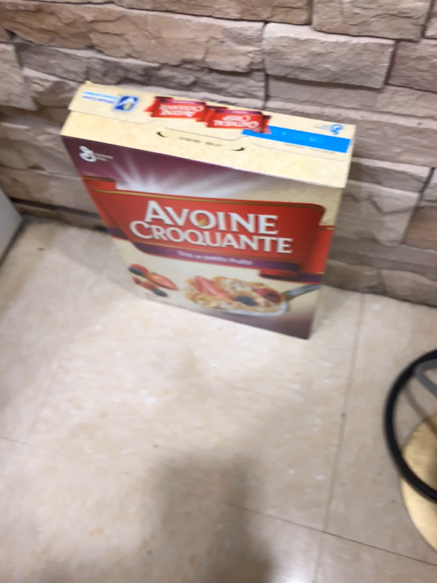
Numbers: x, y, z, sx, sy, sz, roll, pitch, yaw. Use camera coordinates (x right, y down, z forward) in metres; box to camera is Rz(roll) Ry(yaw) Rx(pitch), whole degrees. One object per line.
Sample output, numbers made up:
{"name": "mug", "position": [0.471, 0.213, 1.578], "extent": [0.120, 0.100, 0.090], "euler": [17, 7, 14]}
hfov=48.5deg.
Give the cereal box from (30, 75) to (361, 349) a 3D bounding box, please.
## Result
{"name": "cereal box", "position": [-0.008, -0.046, 0.415], "extent": [0.200, 0.249, 0.060], "euler": [13, 65, 11]}
